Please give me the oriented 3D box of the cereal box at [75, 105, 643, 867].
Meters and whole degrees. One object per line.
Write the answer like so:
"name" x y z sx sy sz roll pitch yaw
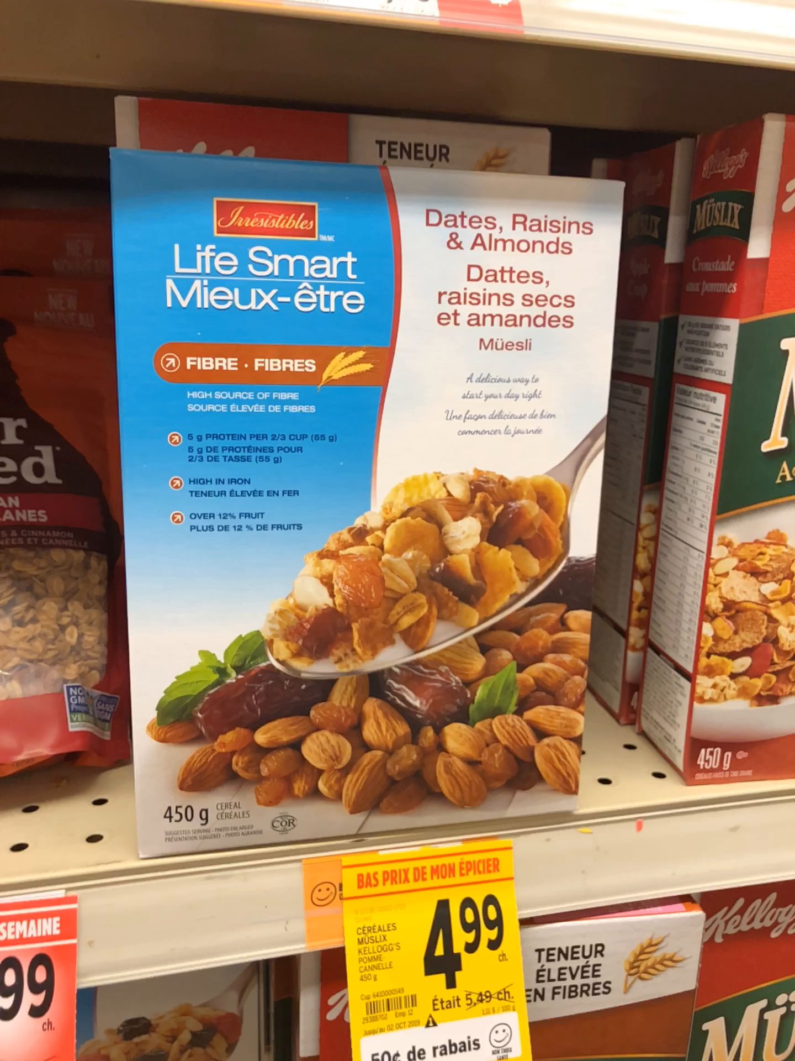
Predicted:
"cereal box" -0.015 -0.010 0.314 0.170 0.239 0.050 -1 15 -13
